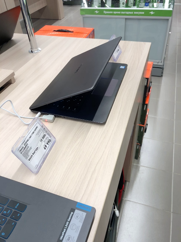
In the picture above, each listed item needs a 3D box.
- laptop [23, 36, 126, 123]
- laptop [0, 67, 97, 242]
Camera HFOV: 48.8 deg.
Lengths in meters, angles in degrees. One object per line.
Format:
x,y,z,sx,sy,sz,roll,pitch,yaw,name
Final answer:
-0.024,-0.164,0.667,0.221,0.100,0.346,11,43,14,laptop
-0.231,0.142,0.202,0.377,0.231,0.350,9,41,14,laptop
